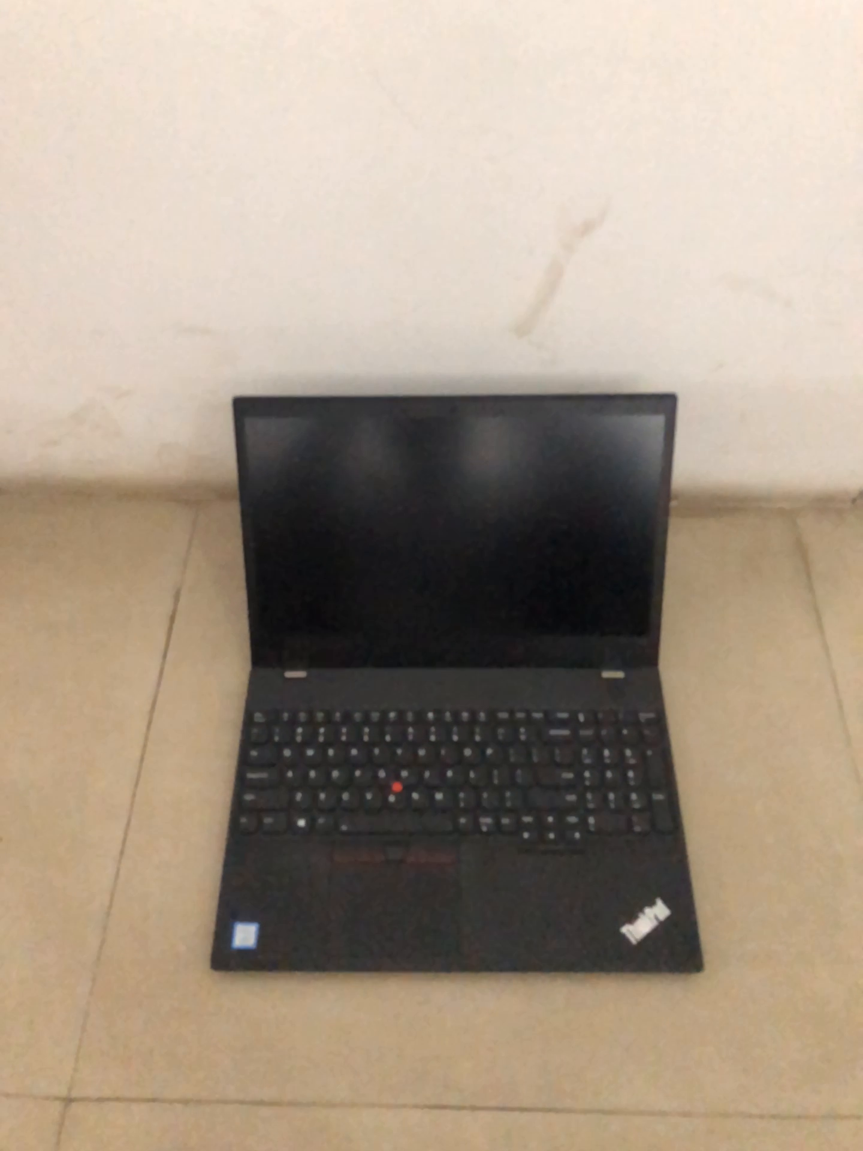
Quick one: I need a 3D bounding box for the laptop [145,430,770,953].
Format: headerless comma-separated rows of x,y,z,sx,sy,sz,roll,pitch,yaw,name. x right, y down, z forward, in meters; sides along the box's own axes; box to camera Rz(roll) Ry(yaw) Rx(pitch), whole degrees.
0.013,0.078,0.714,0.344,0.192,0.364,0,50,-1,laptop
